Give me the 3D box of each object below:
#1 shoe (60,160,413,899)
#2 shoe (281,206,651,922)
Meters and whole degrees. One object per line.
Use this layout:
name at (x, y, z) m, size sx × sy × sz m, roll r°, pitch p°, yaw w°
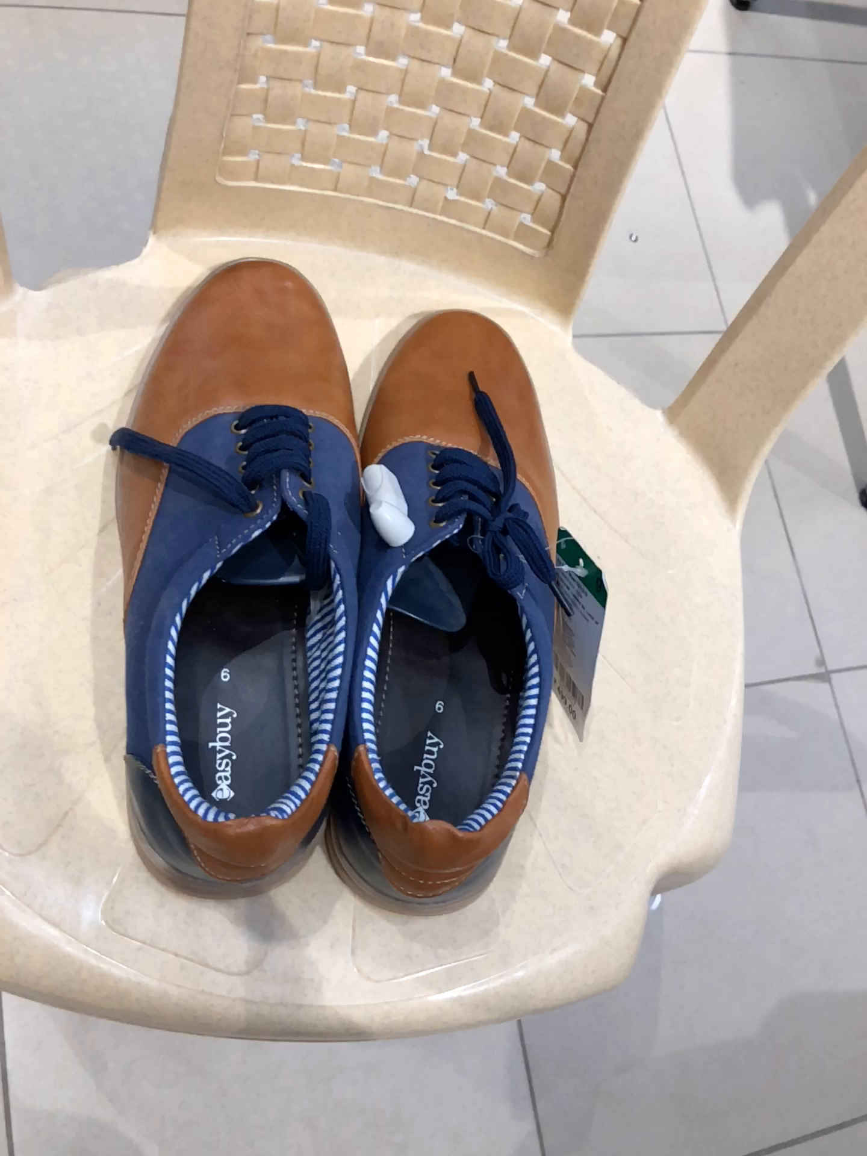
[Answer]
shoe at (-0.075, -0.012, 0.375) m, size 0.103 × 0.113 × 0.254 m, roll 2°, pitch 73°, yaw -15°
shoe at (0.013, 0.001, 0.394) m, size 0.103 × 0.120 × 0.252 m, roll 9°, pitch 71°, yaw -12°
